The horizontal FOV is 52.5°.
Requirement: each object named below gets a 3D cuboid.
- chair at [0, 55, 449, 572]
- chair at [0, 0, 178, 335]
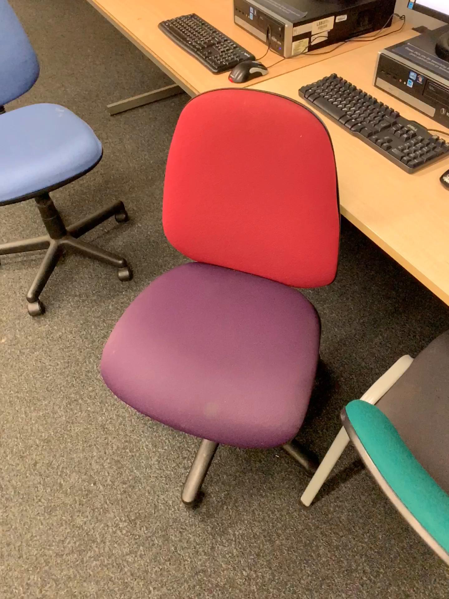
[{"bbox_3d":[-0.004,0.067,1.040,0.654,0.869,0.602,19,54,18],"label":"chair"},{"bbox_3d":[-0.620,-0.470,1.503,0.604,0.830,0.602,-29,54,-19],"label":"chair"}]
